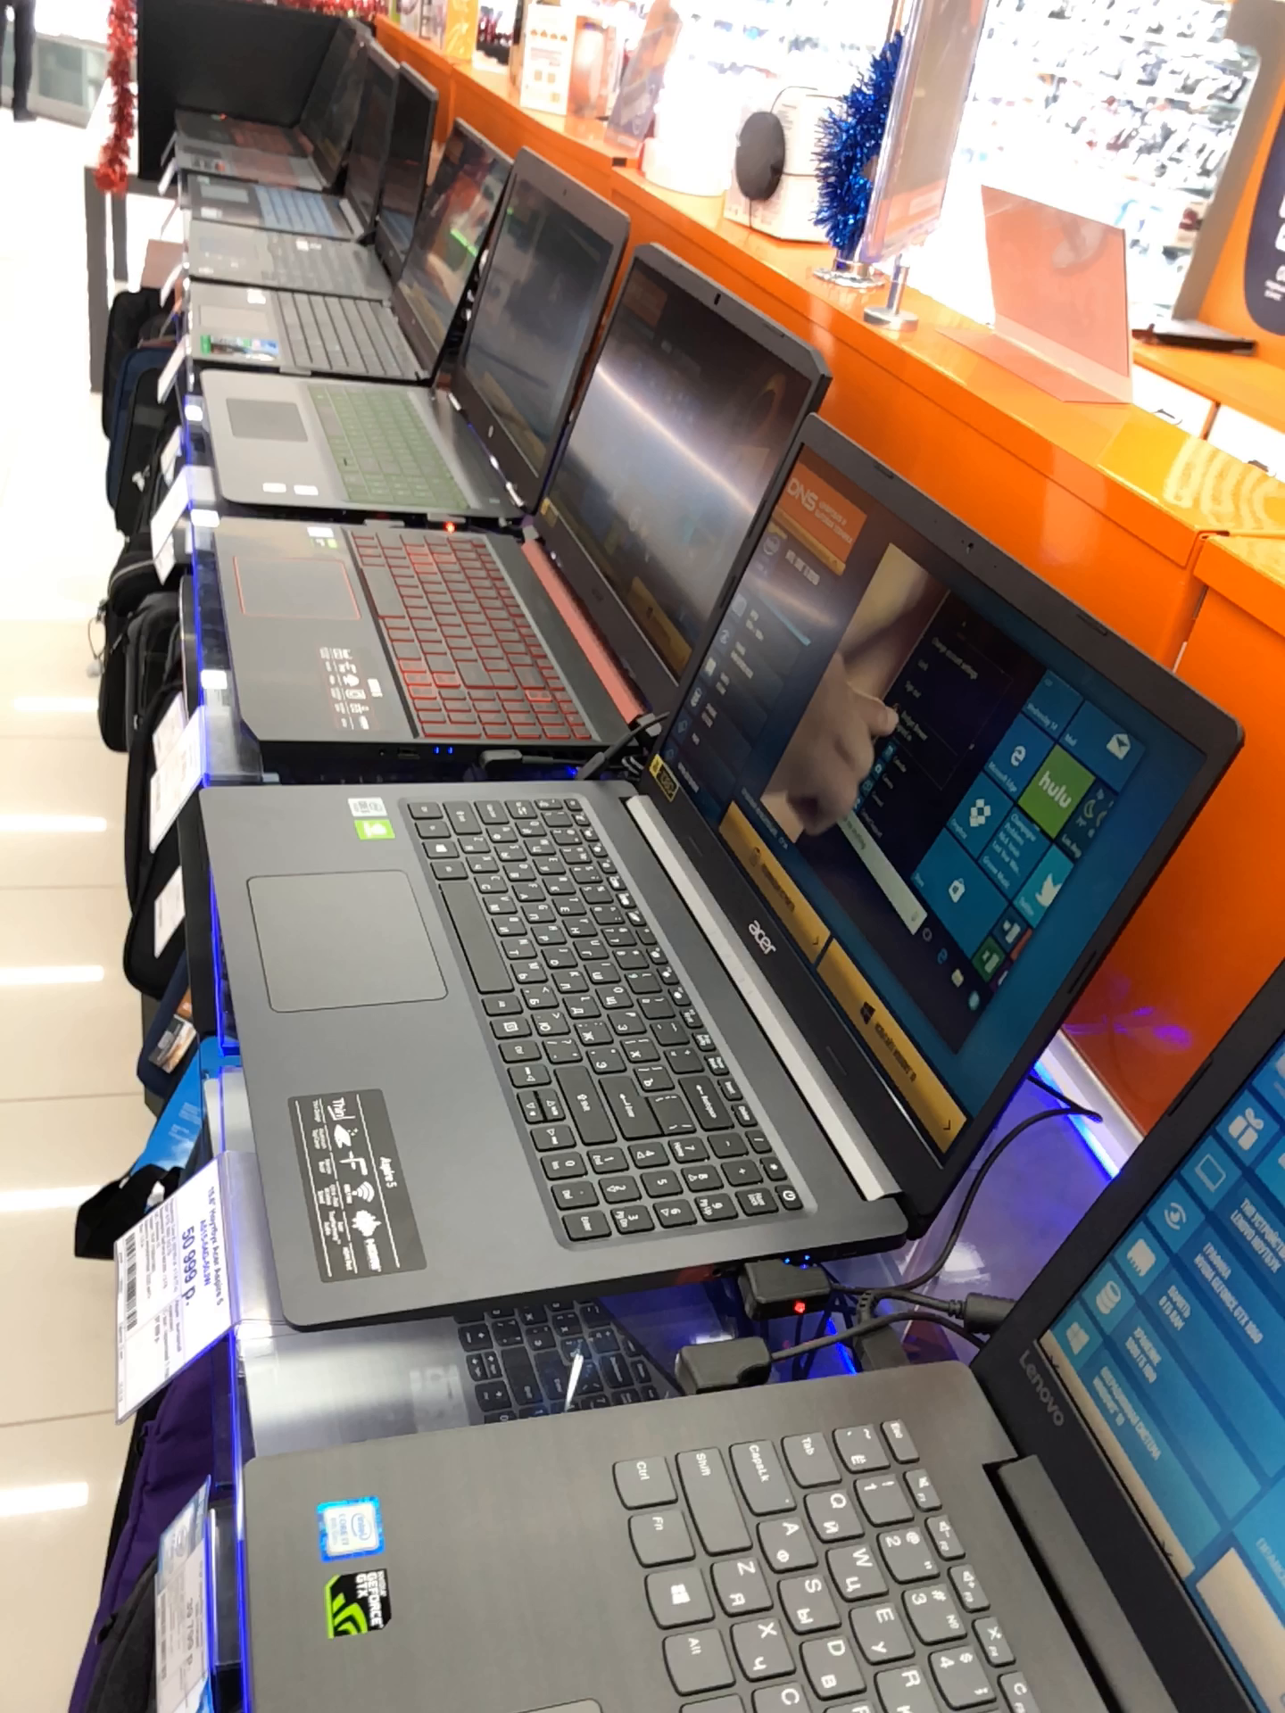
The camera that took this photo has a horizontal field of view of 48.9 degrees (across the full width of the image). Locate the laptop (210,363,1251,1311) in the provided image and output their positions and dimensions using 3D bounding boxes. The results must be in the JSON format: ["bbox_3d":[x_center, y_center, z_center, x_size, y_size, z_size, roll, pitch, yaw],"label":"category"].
[{"bbox_3d":[-0.013,-0.039,0.615,0.302,0.224,0.354,-2,33,-21],"label":"laptop"}]

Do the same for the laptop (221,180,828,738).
[{"bbox_3d":[-0.102,-0.265,0.927,0.301,0.230,0.310,-3,35,-22],"label":"laptop"}]

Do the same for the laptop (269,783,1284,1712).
[{"bbox_3d":[0.101,0.179,0.277,0.322,0.230,0.350,-1,33,-18],"label":"laptop"}]
